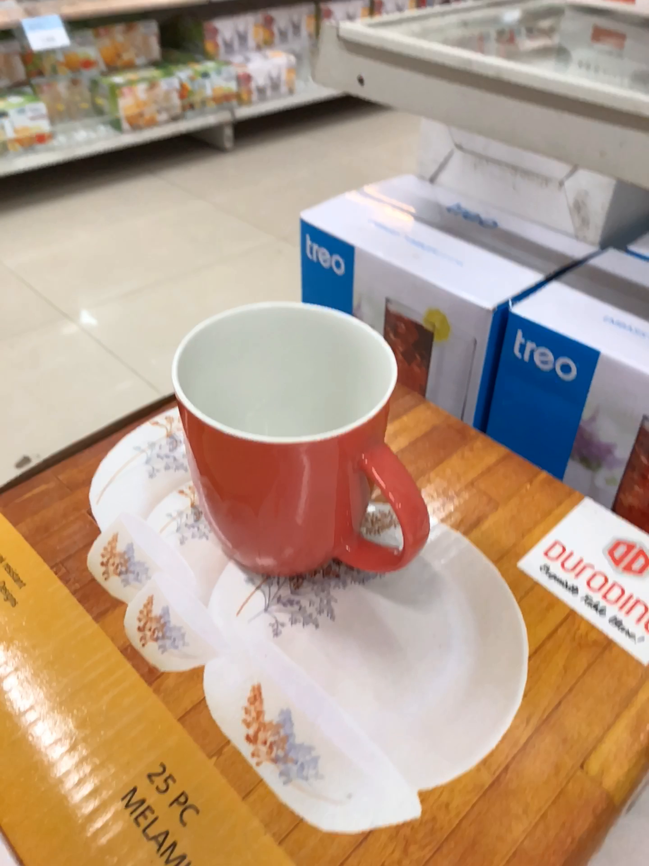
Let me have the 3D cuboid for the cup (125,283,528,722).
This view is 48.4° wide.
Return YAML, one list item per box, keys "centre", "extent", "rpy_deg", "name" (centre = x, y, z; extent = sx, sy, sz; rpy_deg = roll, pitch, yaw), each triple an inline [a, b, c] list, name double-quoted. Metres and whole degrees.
- centre: [-0.003, 0.020, 0.292]
  extent: [0.090, 0.099, 0.120]
  rpy_deg: [-28, 46, -30]
  name: "cup"
